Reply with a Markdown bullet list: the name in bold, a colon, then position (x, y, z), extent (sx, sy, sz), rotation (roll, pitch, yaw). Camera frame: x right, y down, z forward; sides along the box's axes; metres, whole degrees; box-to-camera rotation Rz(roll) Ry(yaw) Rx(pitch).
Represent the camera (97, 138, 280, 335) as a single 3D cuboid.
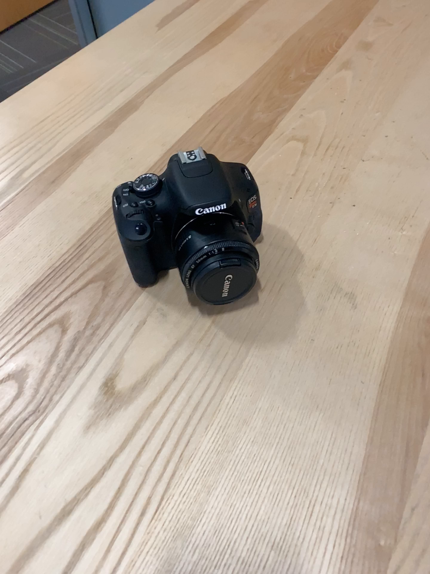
- **camera**: position (-0.024, -0.045, 0.381), extent (0.120, 0.094, 0.112), rotation (-14, 53, -7)
